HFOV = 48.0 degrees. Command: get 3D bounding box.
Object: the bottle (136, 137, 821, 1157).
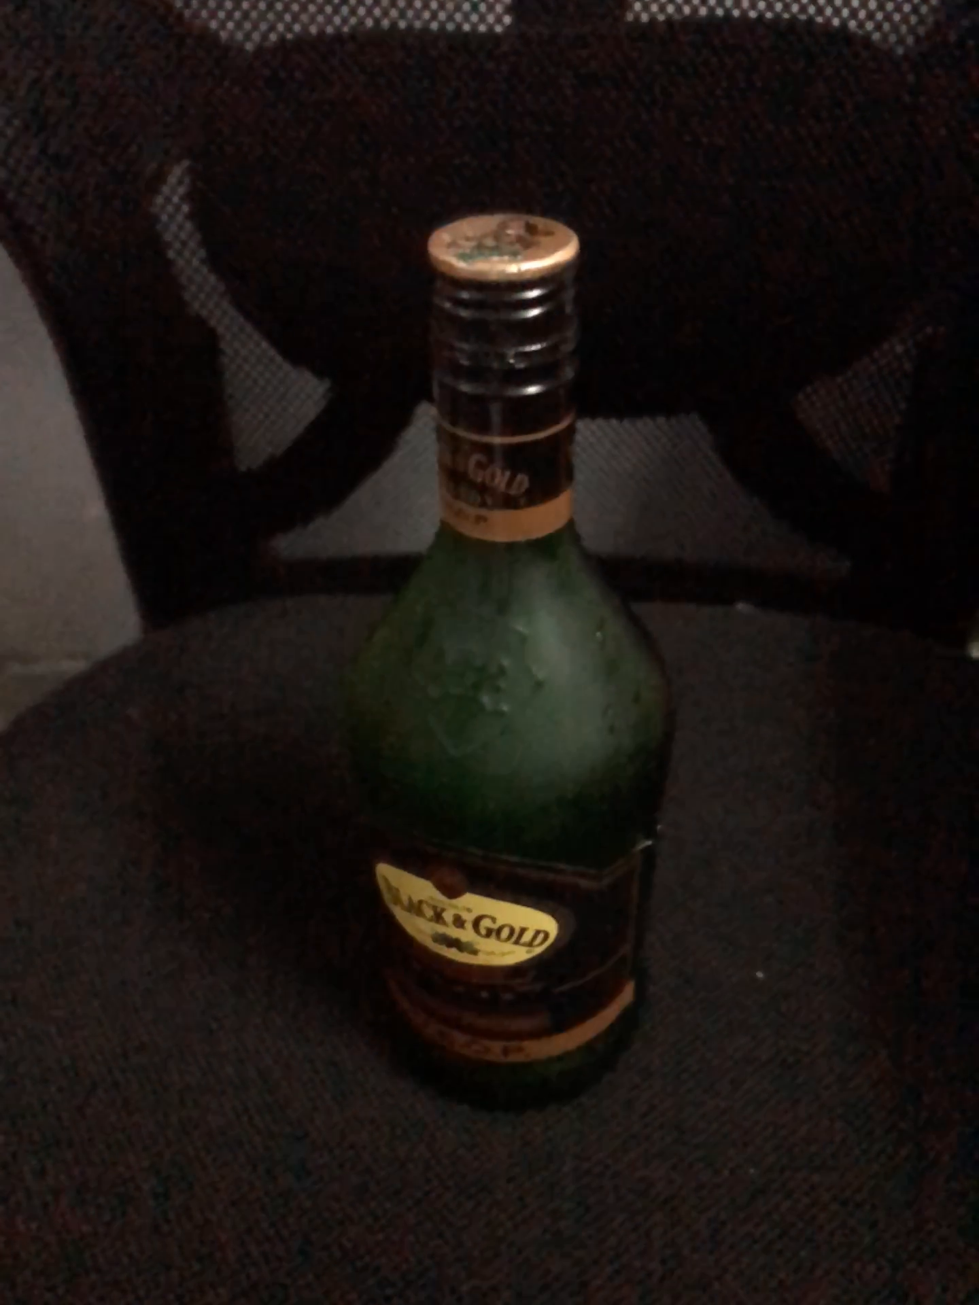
[{"bbox_3d":[0.000,0.020,0.302,0.110,0.269,0.080,16,44,16],"label":"bottle"}]
